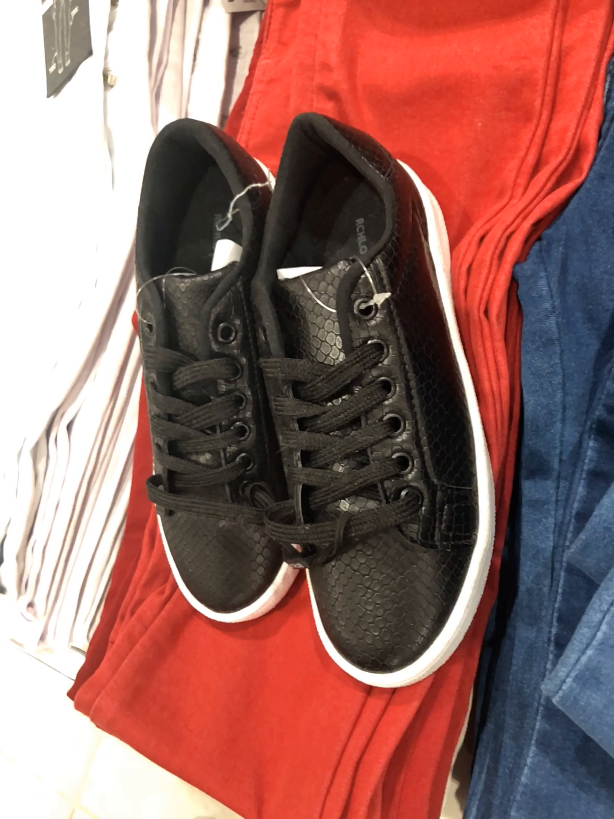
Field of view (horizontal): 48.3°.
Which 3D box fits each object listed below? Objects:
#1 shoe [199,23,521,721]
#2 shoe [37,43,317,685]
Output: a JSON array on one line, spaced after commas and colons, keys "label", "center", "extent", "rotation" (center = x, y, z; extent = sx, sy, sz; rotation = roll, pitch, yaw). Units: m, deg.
[{"label": "shoe", "center": [0.025, -0.013, 0.291], "extent": [0.090, 0.100, 0.250], "rotation": [-8, 71, 23]}, {"label": "shoe", "center": [-0.054, -0.018, 0.327], "extent": [0.090, 0.100, 0.250], "rotation": [-1, 86, 20]}]
